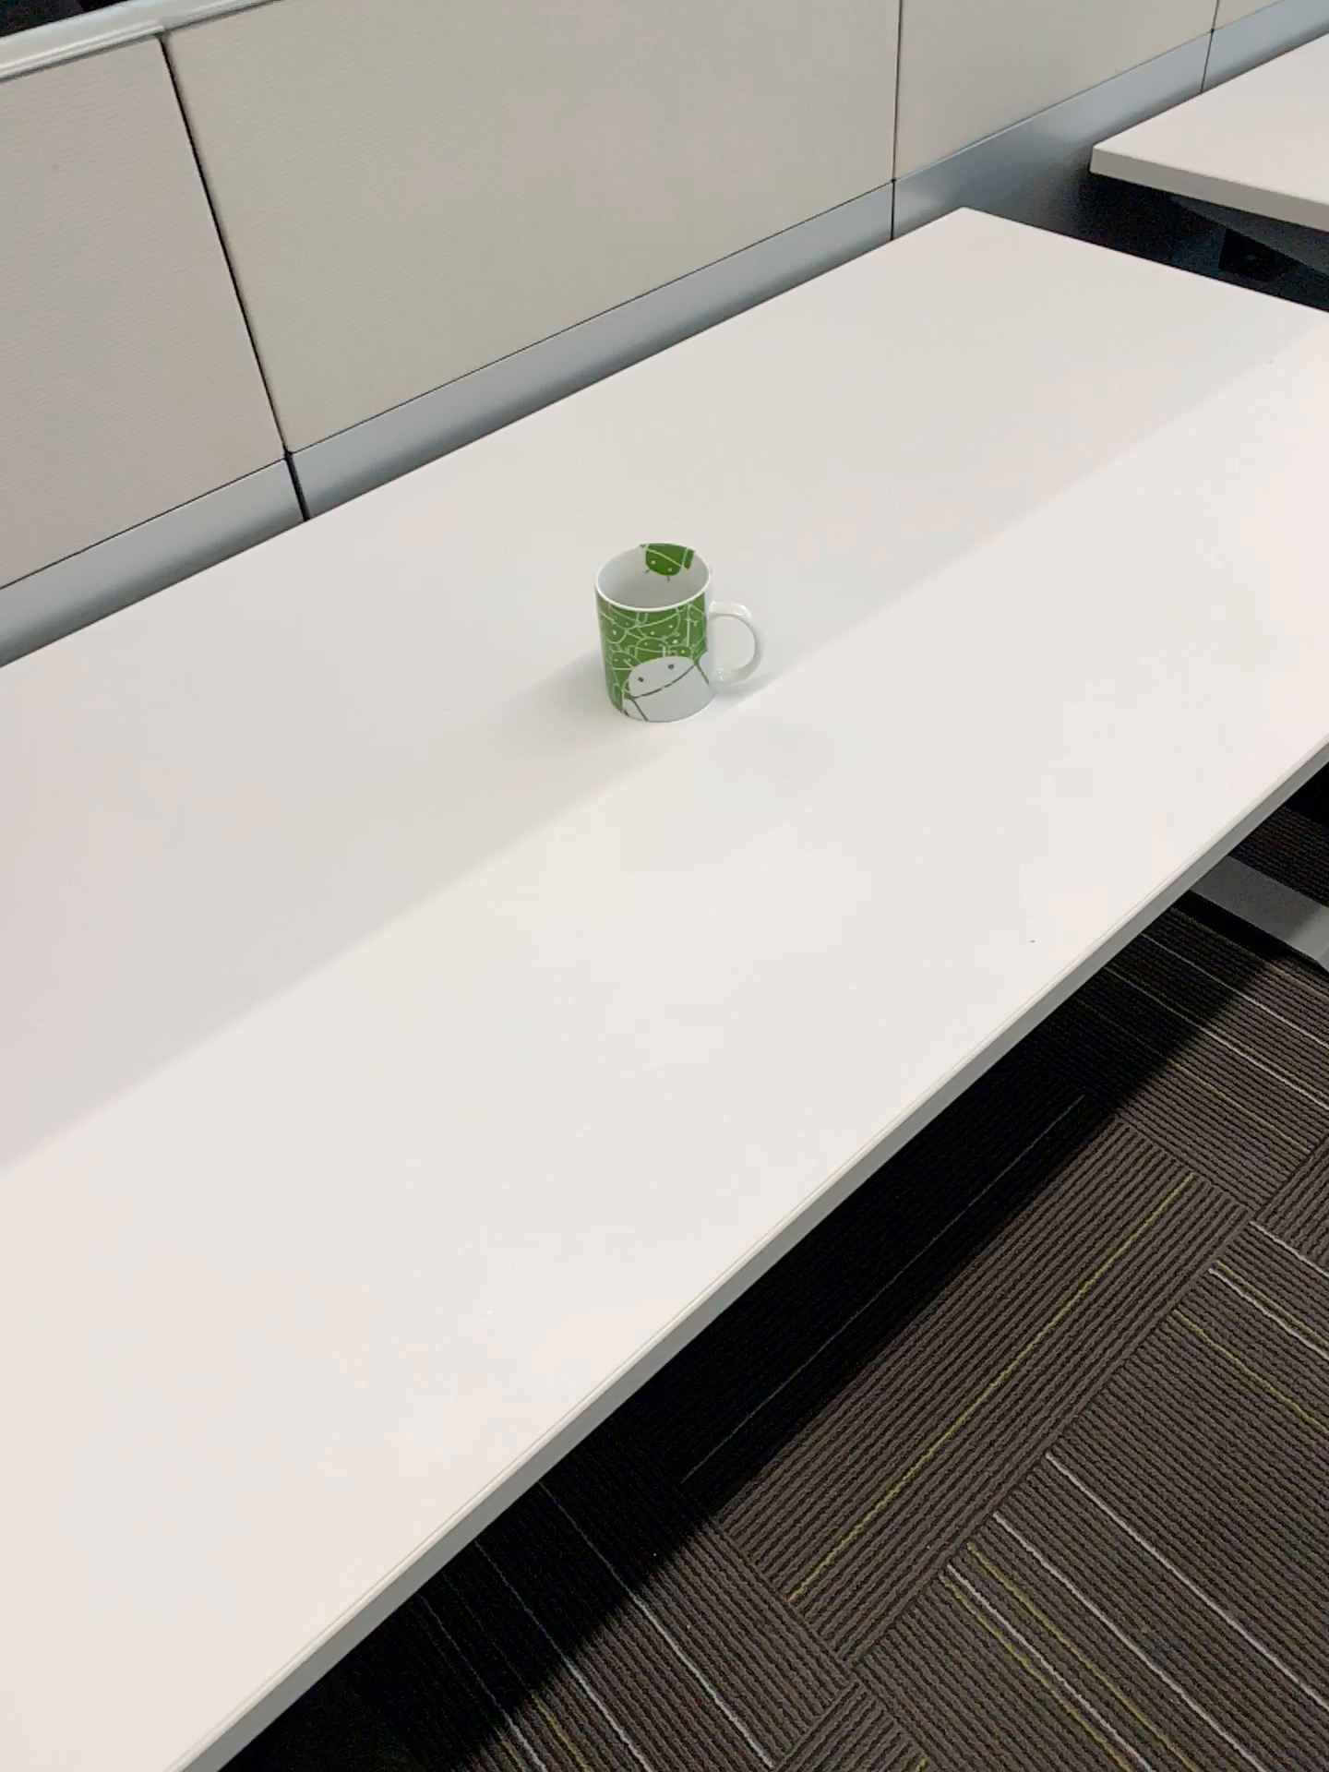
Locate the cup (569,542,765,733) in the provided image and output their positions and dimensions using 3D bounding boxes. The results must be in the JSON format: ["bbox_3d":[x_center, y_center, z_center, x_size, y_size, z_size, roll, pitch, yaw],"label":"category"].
[{"bbox_3d":[0.003,-0.178,0.971,0.130,0.090,0.090,-4,46,2],"label":"cup"}]
